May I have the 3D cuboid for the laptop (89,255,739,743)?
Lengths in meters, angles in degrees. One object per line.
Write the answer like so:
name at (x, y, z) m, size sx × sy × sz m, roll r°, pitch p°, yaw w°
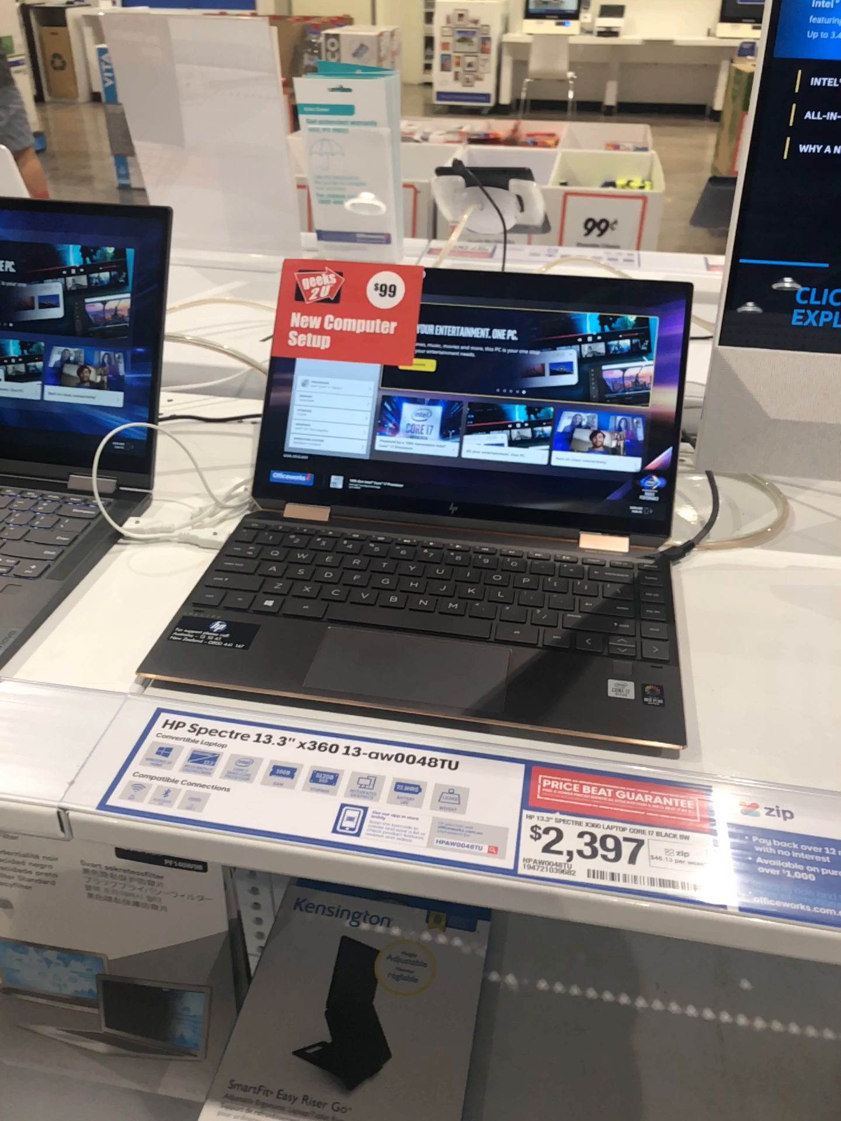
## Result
laptop at (0.017, -0.069, 0.586) m, size 0.298 × 0.147 × 0.315 m, roll 6°, pitch 33°, yaw 10°
